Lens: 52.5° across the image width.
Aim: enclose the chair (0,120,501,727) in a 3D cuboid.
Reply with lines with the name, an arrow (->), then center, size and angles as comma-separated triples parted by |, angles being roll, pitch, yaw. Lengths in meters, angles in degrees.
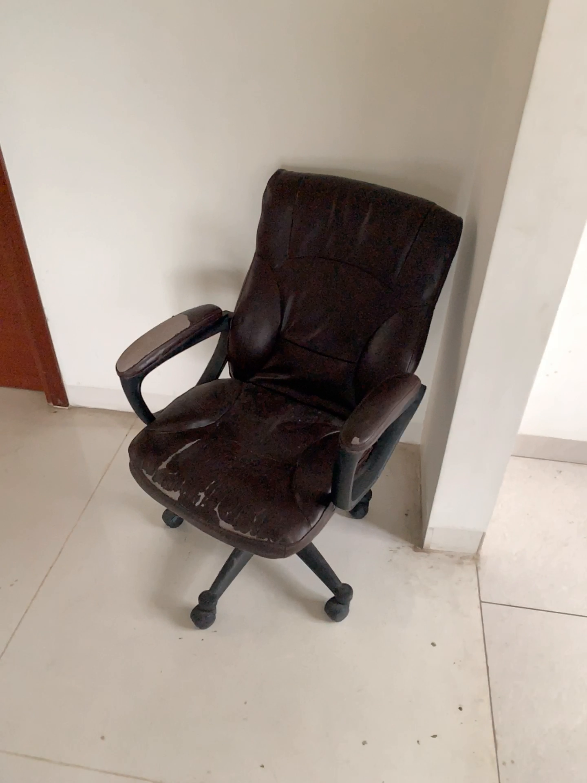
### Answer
chair -> -0.085, 0.019, 1.415 | 0.701, 0.996, 0.792 | 22, 42, 25
